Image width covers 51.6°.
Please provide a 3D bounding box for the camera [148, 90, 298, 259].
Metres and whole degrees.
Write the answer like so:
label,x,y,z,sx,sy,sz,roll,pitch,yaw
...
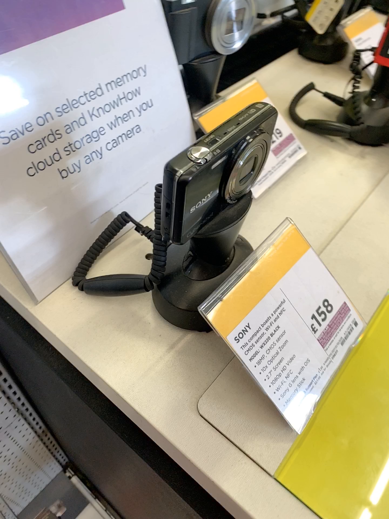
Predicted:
label,x,y,z,sx,sy,sz,roll,pitch,yaw
camera,0.018,-0.053,0.238,0.030,0.050,0.101,33,55,20
